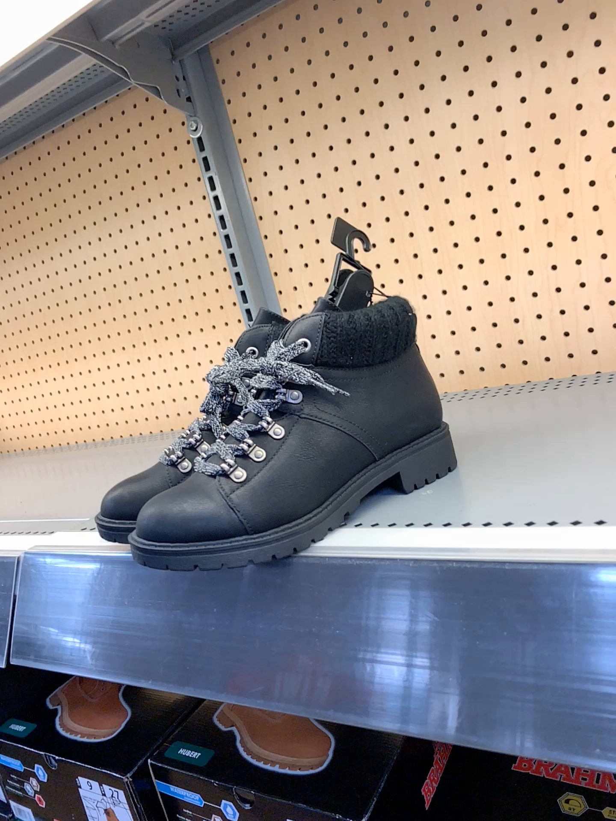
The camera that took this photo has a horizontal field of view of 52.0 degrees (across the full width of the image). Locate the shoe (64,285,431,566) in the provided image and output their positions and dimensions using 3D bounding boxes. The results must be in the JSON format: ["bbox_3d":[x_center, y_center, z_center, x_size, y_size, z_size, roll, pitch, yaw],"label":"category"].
[{"bbox_3d":[-0.045,0.001,0.500,0.235,0.137,0.104,-18,12,-12],"label":"shoe"}]

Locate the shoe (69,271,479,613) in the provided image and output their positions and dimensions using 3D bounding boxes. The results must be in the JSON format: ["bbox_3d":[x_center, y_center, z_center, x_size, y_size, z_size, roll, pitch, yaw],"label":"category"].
[{"bbox_3d":[-0.014,0.005,0.430,0.231,0.137,0.105,-22,13,-30],"label":"shoe"}]
